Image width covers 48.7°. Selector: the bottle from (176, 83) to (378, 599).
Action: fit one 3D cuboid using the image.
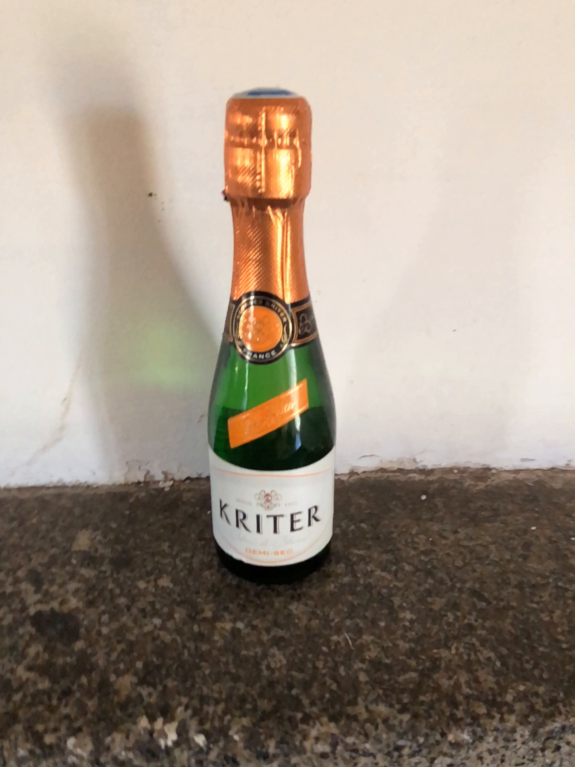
[{"bbox_3d":[-0.002,-0.014,0.262,0.060,0.199,0.070,-1,25,0],"label":"bottle"}]
